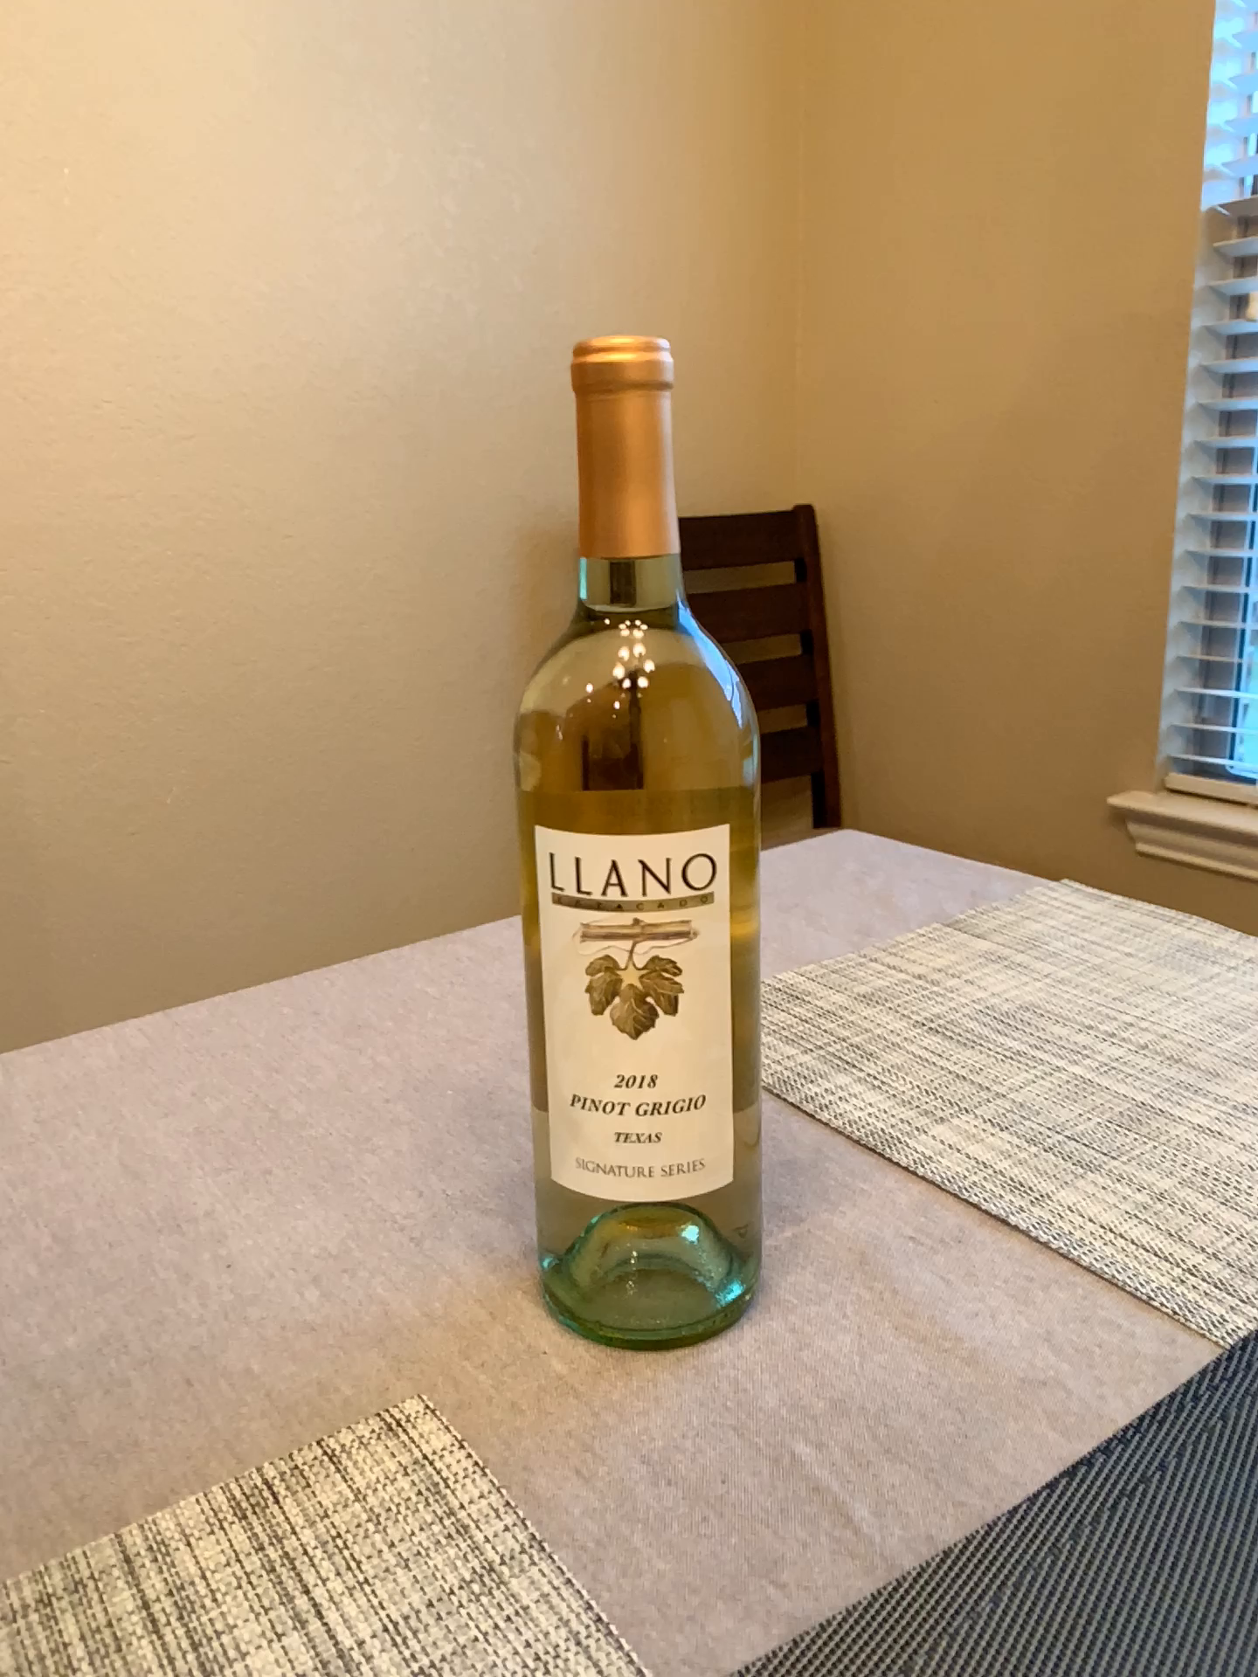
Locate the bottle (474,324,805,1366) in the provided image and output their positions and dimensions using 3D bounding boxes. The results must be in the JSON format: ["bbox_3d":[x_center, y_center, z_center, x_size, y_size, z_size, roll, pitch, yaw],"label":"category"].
[{"bbox_3d":[0.010,0.006,0.400,0.083,0.299,0.080,-1,15,0],"label":"bottle"}]
